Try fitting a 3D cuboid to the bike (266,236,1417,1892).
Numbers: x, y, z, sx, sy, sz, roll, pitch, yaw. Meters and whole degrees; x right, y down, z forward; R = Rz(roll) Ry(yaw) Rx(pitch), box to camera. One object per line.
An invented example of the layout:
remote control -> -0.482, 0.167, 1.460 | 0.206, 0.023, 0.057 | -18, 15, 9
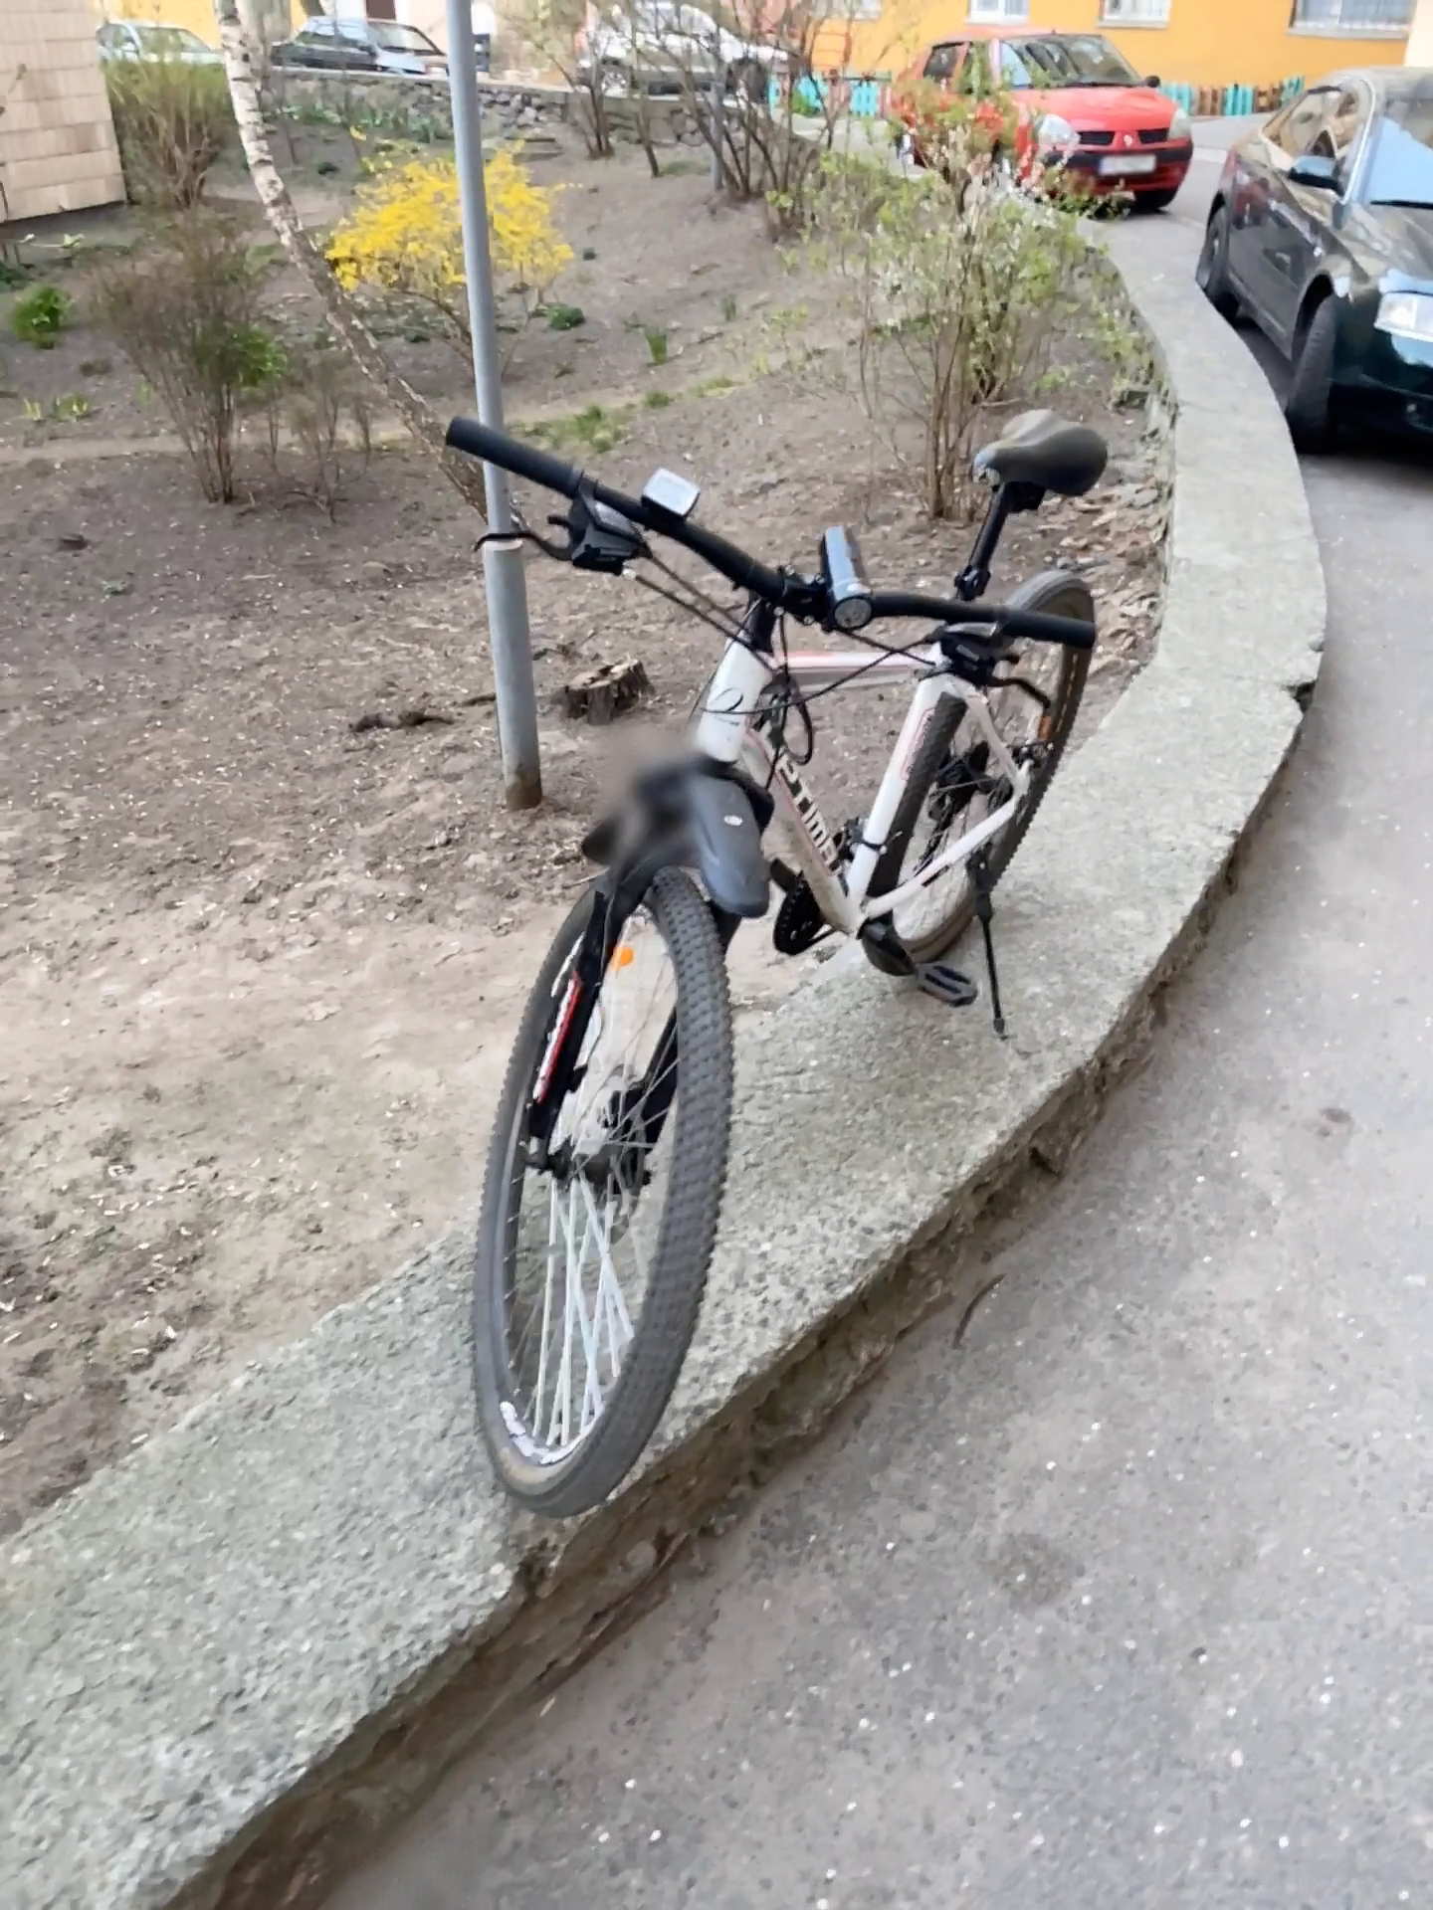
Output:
bike -> 0.326, -0.122, 1.910 | 0.678, 1.143, 1.761 | 16, 39, 21
